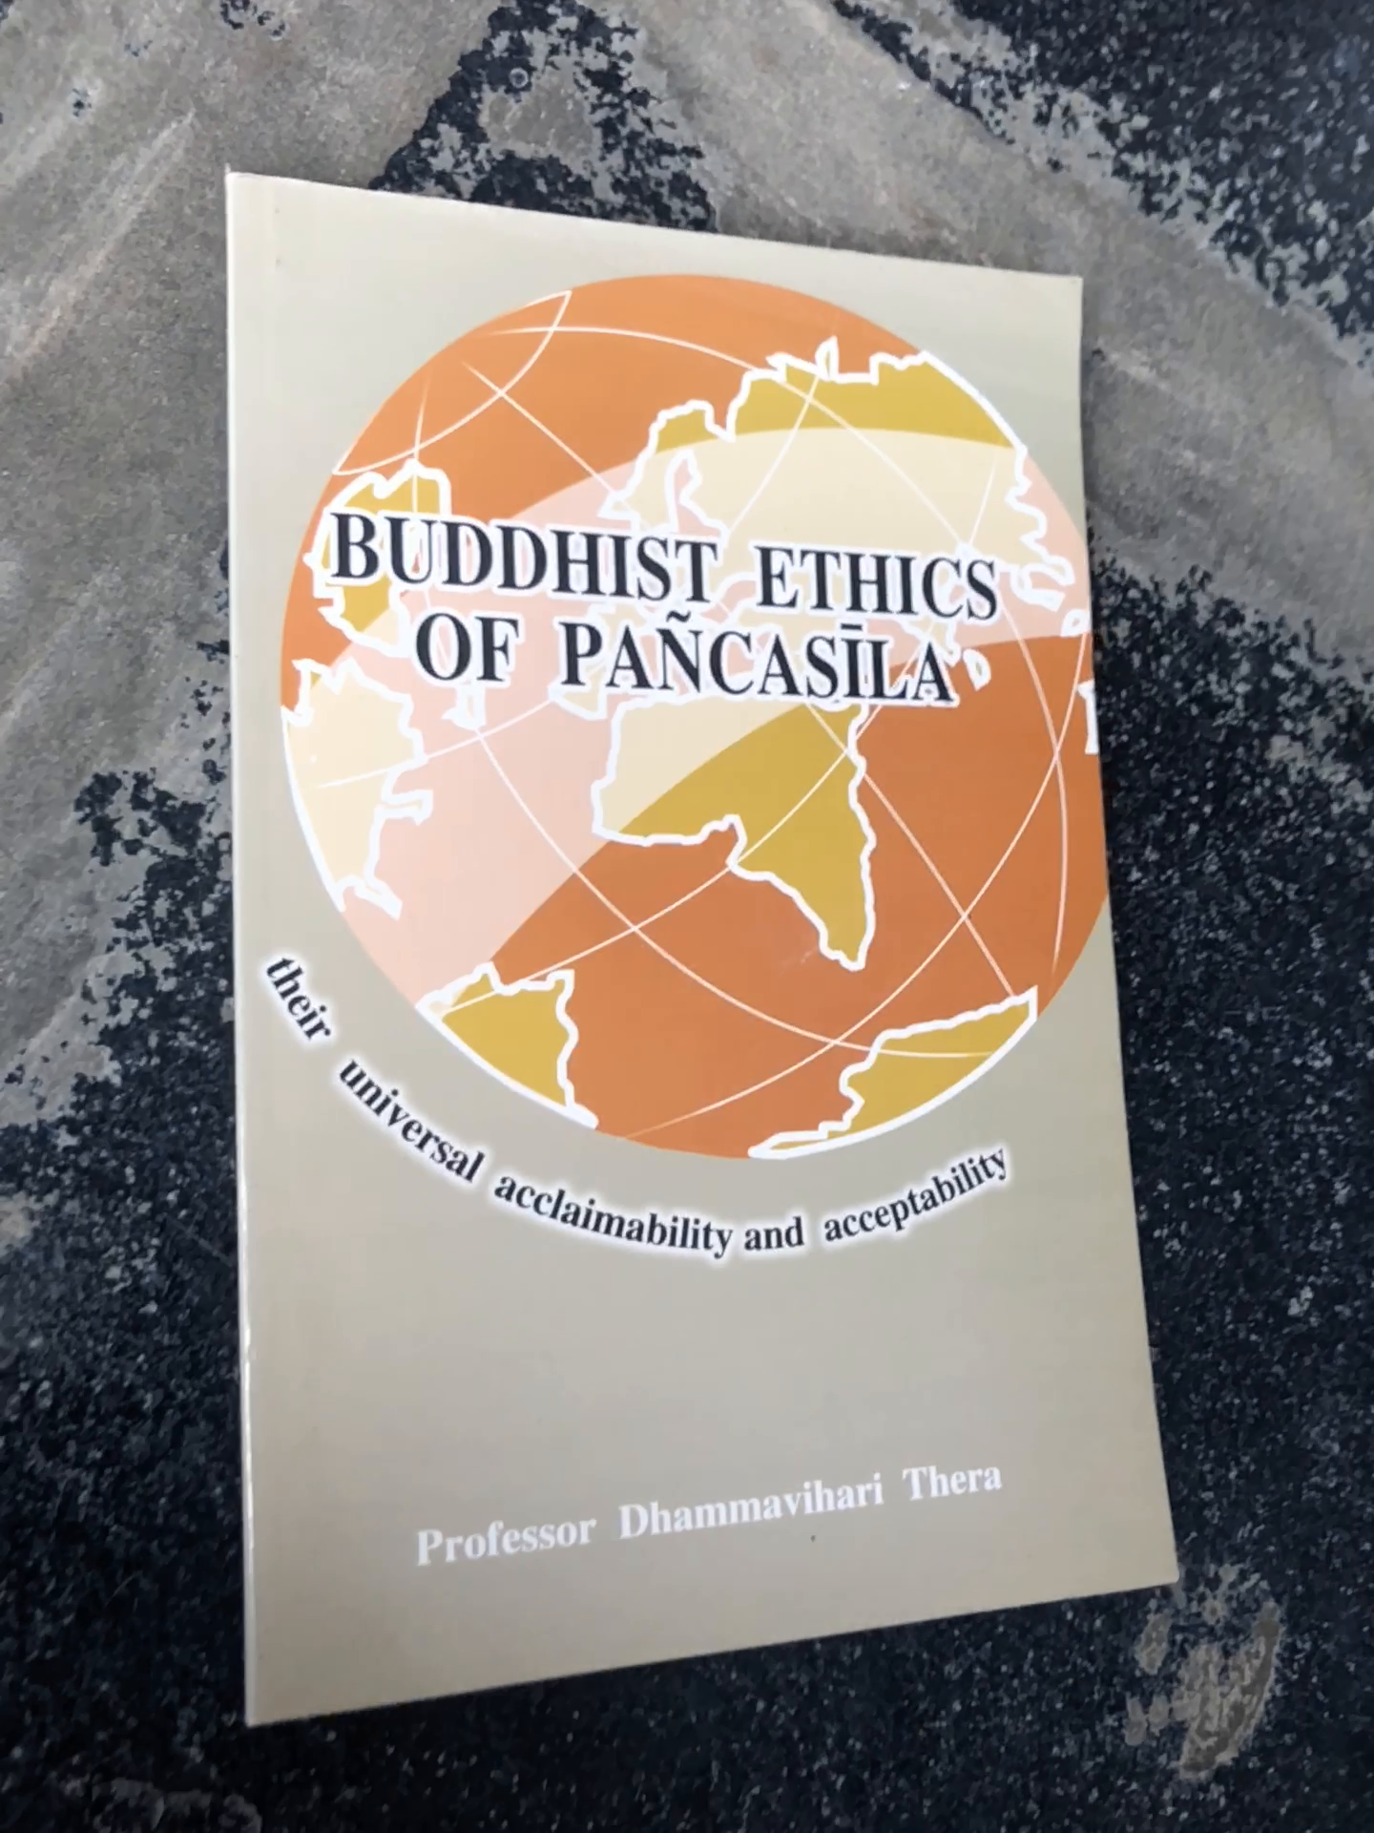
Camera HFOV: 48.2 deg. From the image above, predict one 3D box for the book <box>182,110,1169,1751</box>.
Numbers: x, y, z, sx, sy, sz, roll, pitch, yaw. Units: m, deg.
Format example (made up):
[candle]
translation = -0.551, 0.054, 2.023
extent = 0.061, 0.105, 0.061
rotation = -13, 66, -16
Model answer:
[book]
translation = 0.000, -0.006, 0.232
extent = 0.141, 0.010, 0.220
rotation = -1, 83, -19
